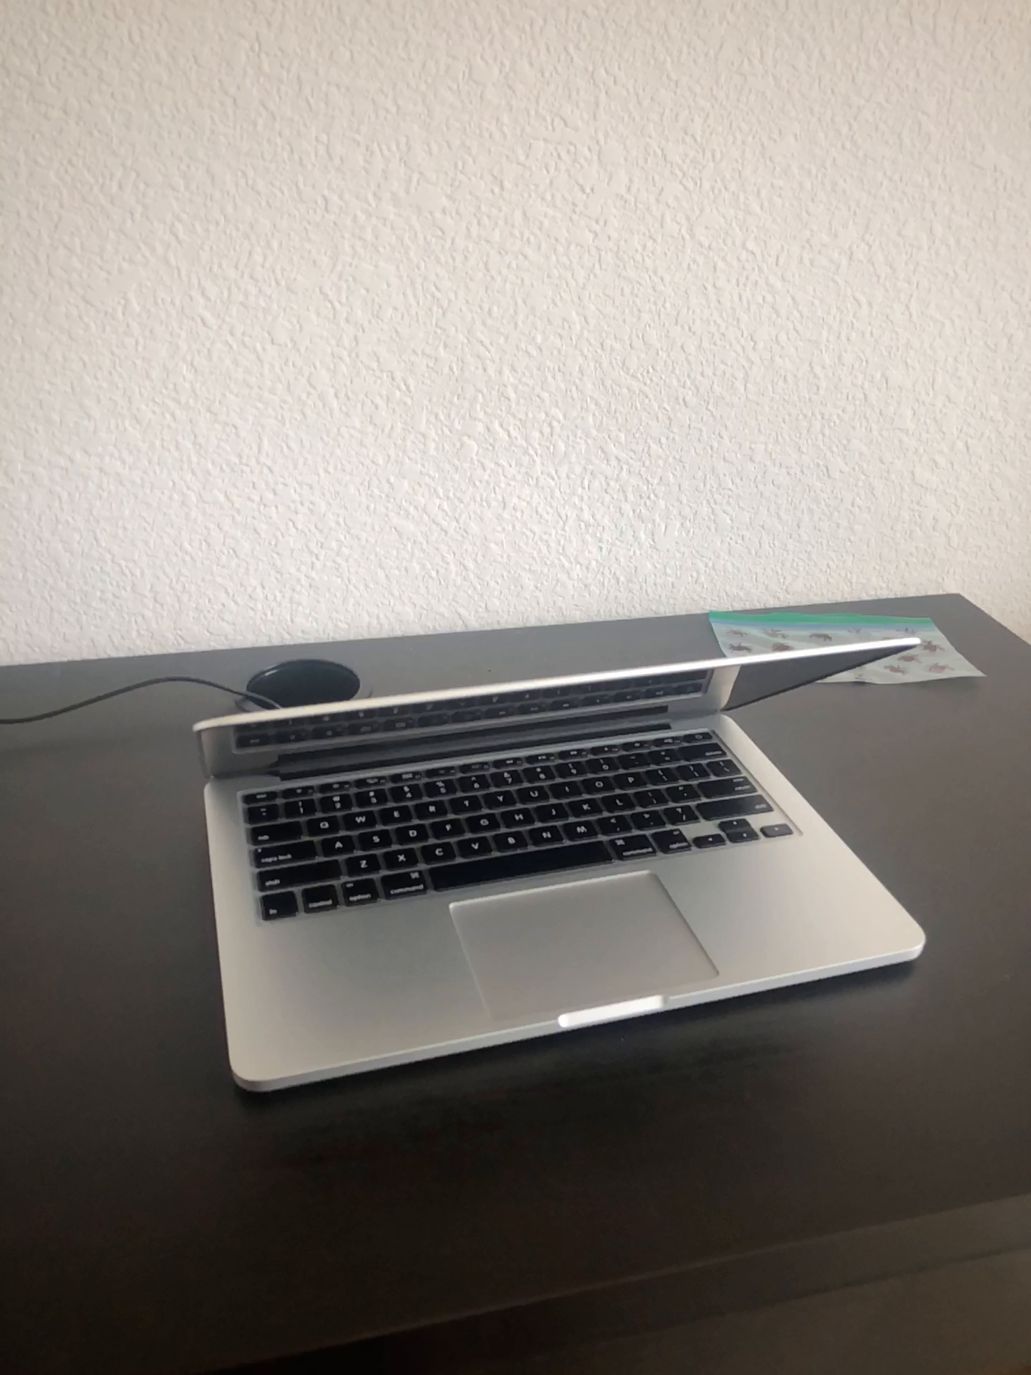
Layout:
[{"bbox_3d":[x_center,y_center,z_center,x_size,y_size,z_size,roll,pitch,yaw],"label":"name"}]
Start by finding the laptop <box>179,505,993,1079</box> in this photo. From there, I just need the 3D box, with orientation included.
[{"bbox_3d":[0.010,0.023,0.537,0.309,0.133,0.225,-6,28,-15],"label":"laptop"}]
